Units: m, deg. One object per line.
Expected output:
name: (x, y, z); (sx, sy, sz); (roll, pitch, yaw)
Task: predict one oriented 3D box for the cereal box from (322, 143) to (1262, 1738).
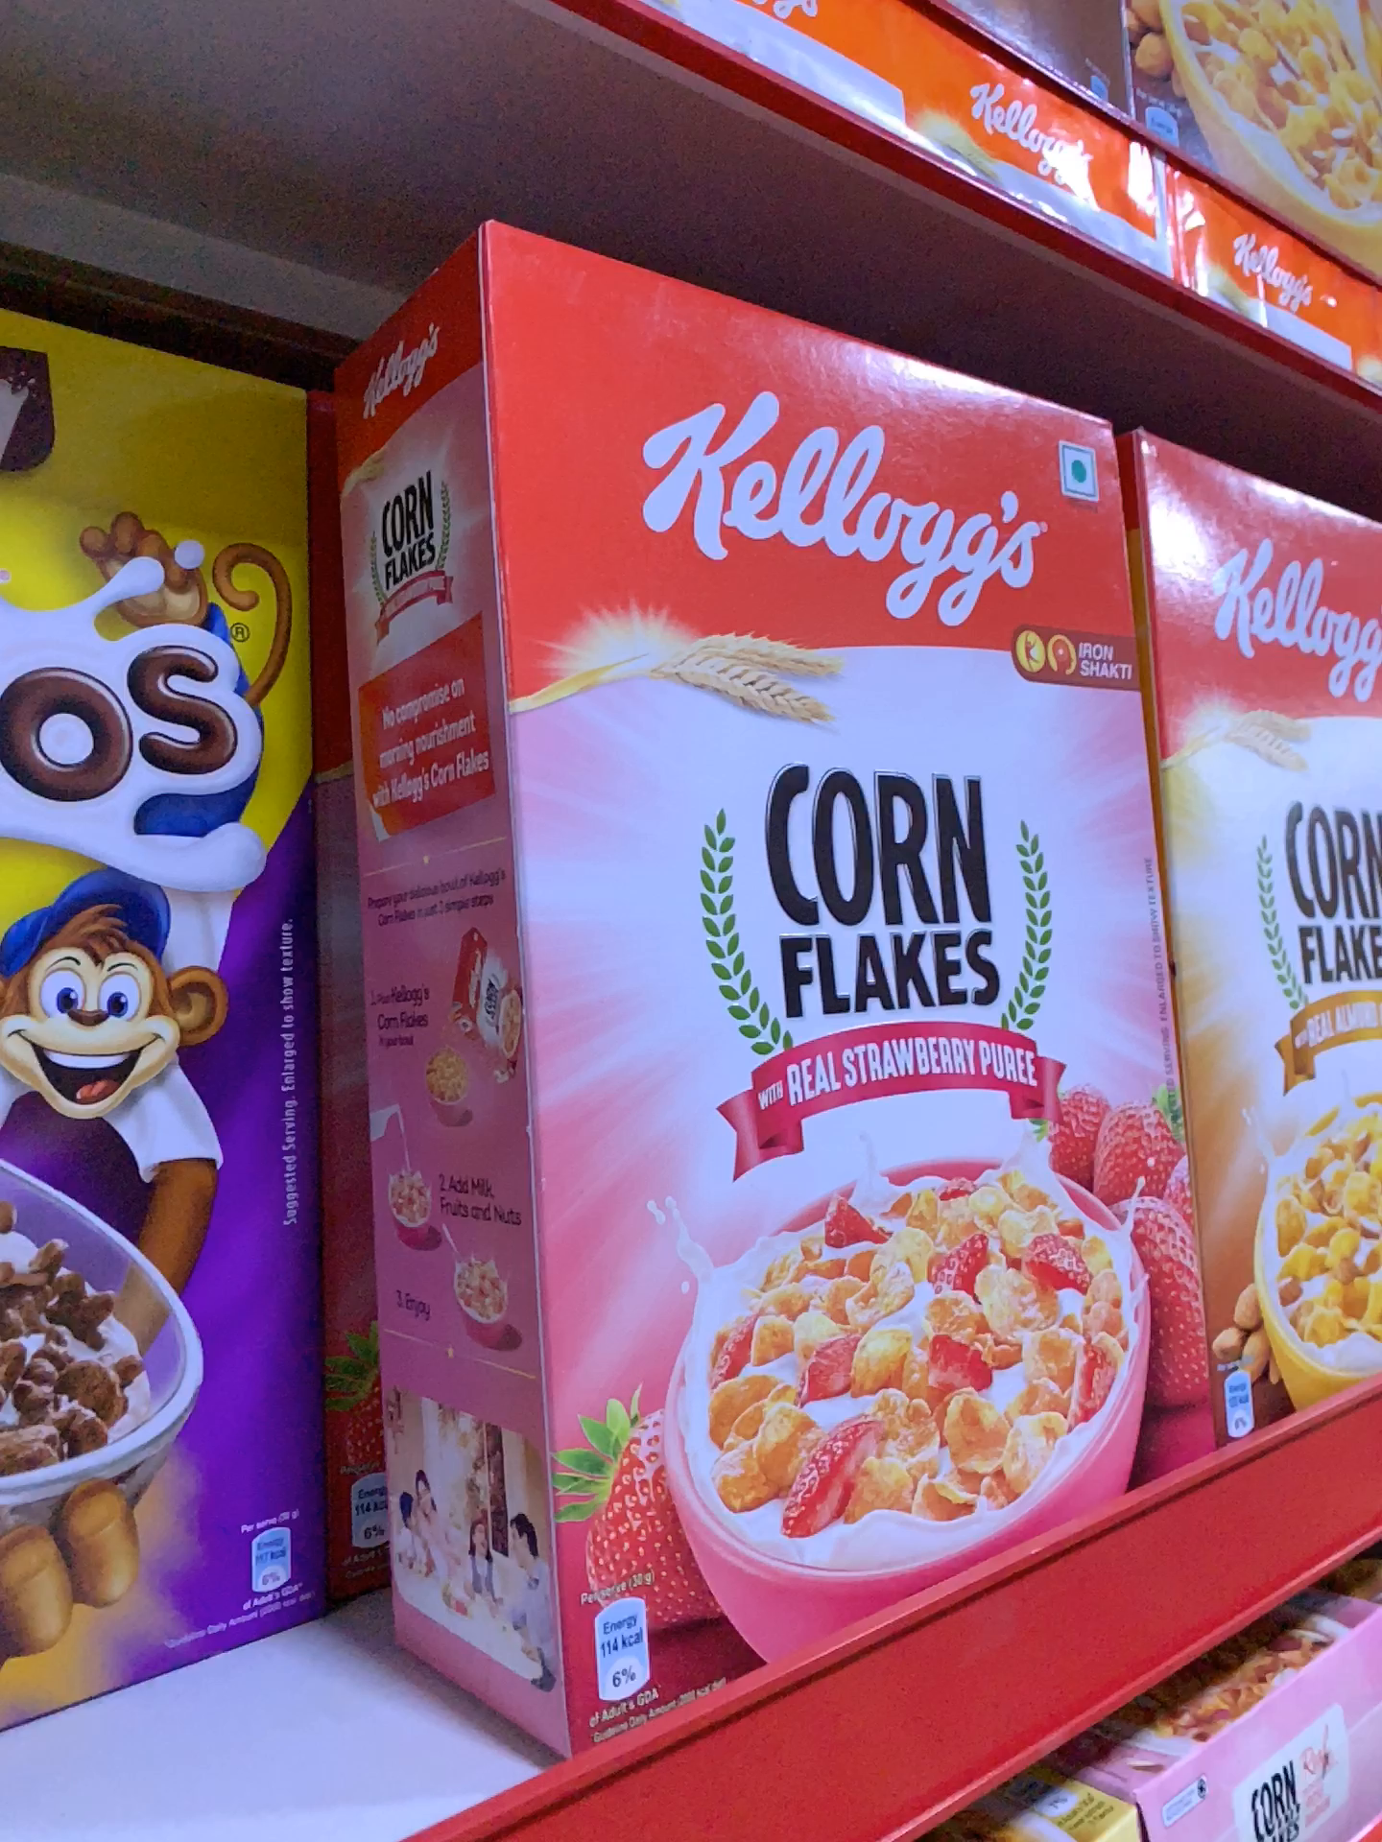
cereal box: (0.030, -0.001, 0.300); (0.190, 0.240, 0.060); (0, -6, -39)
